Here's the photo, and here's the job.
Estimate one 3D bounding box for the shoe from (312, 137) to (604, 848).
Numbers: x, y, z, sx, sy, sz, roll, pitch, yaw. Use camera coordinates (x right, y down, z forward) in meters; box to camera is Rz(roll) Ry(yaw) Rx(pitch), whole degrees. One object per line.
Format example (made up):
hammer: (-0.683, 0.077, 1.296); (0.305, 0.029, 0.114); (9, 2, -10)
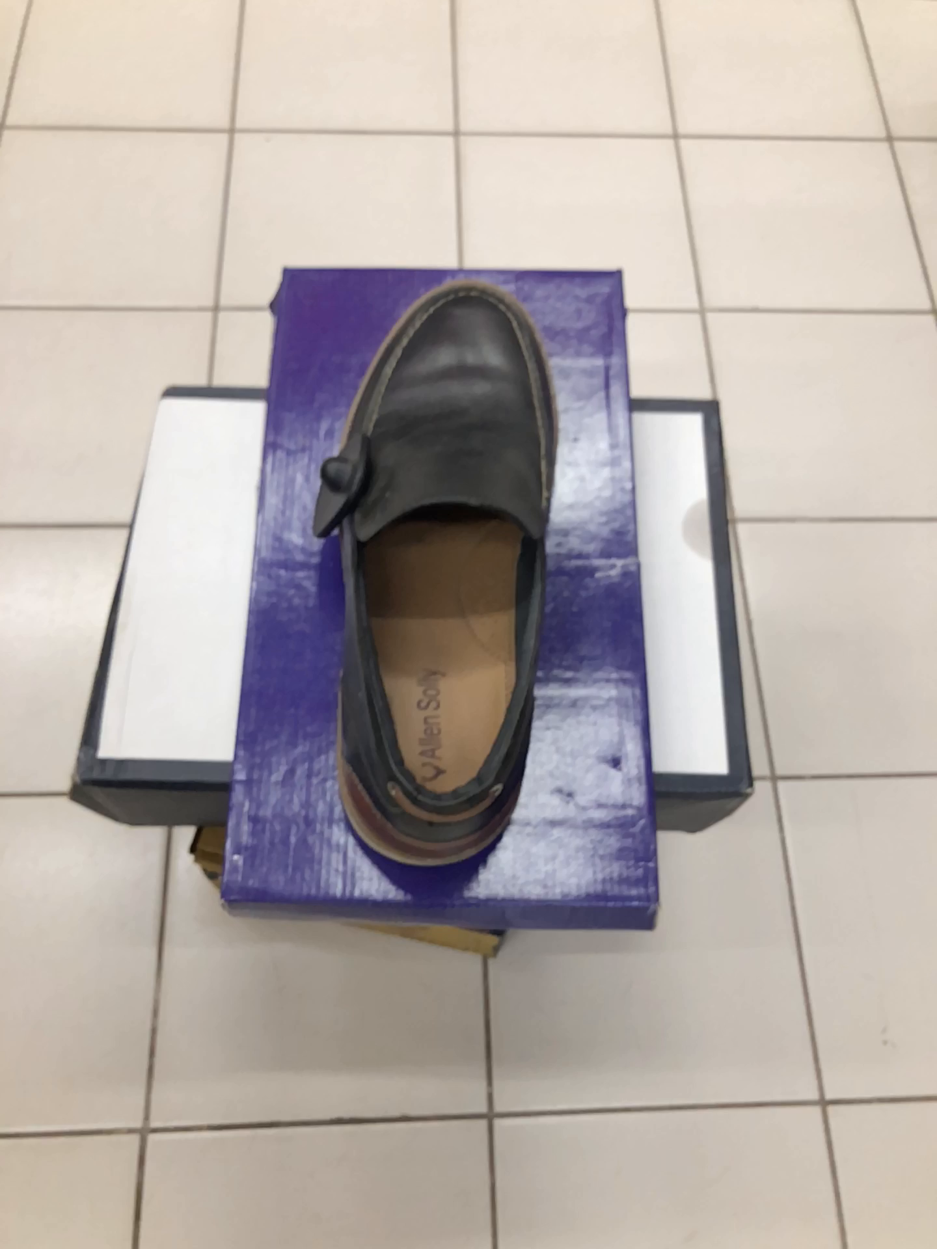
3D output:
shoe: (-0.007, -0.062, 0.469); (0.100, 0.110, 0.301); (1, 66, -3)
